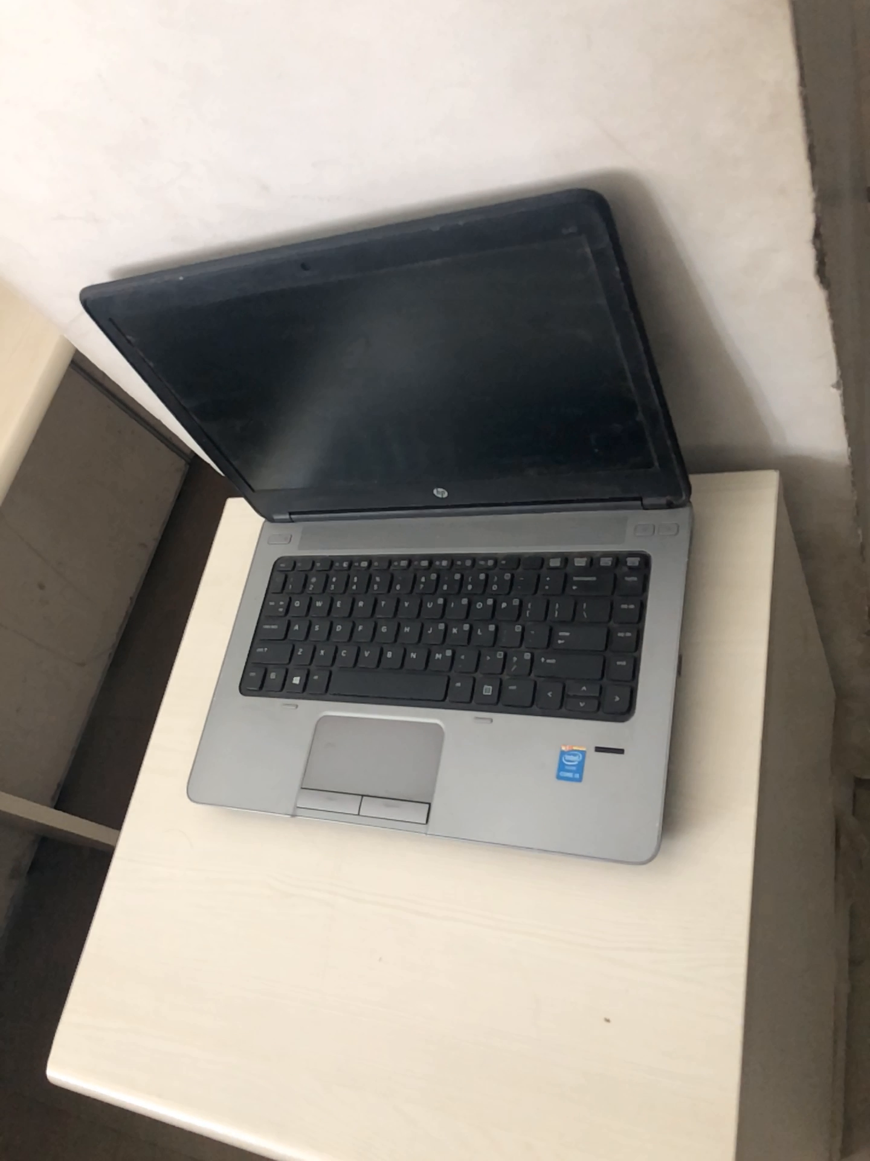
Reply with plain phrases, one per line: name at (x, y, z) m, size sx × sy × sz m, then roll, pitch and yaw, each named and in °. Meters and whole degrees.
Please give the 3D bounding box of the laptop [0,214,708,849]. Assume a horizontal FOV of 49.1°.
laptop at (-0.037, -0.010, 0.532) m, size 0.304 × 0.210 × 0.237 m, roll 0°, pitch 65°, yaw 27°
